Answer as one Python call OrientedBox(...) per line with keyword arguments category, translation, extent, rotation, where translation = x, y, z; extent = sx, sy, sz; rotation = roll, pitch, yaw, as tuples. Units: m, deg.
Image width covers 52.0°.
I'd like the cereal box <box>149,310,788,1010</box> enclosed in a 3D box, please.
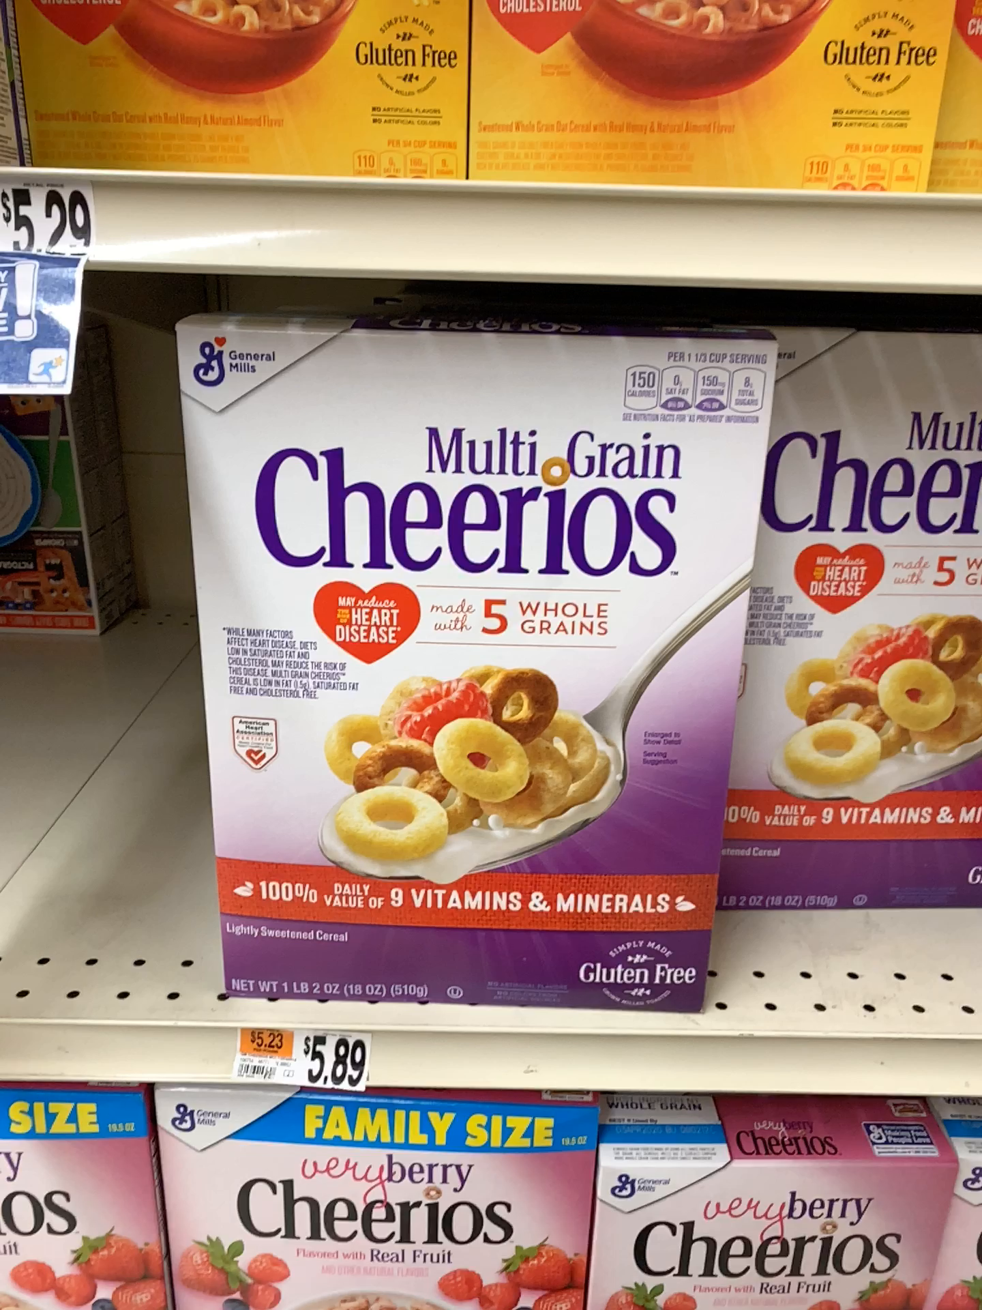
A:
OrientedBox(category="cereal box", translation=(-0.013, 0.009, 0.478), extent=(0.250, 0.319, 0.070), rotation=(2, 19, 0))
